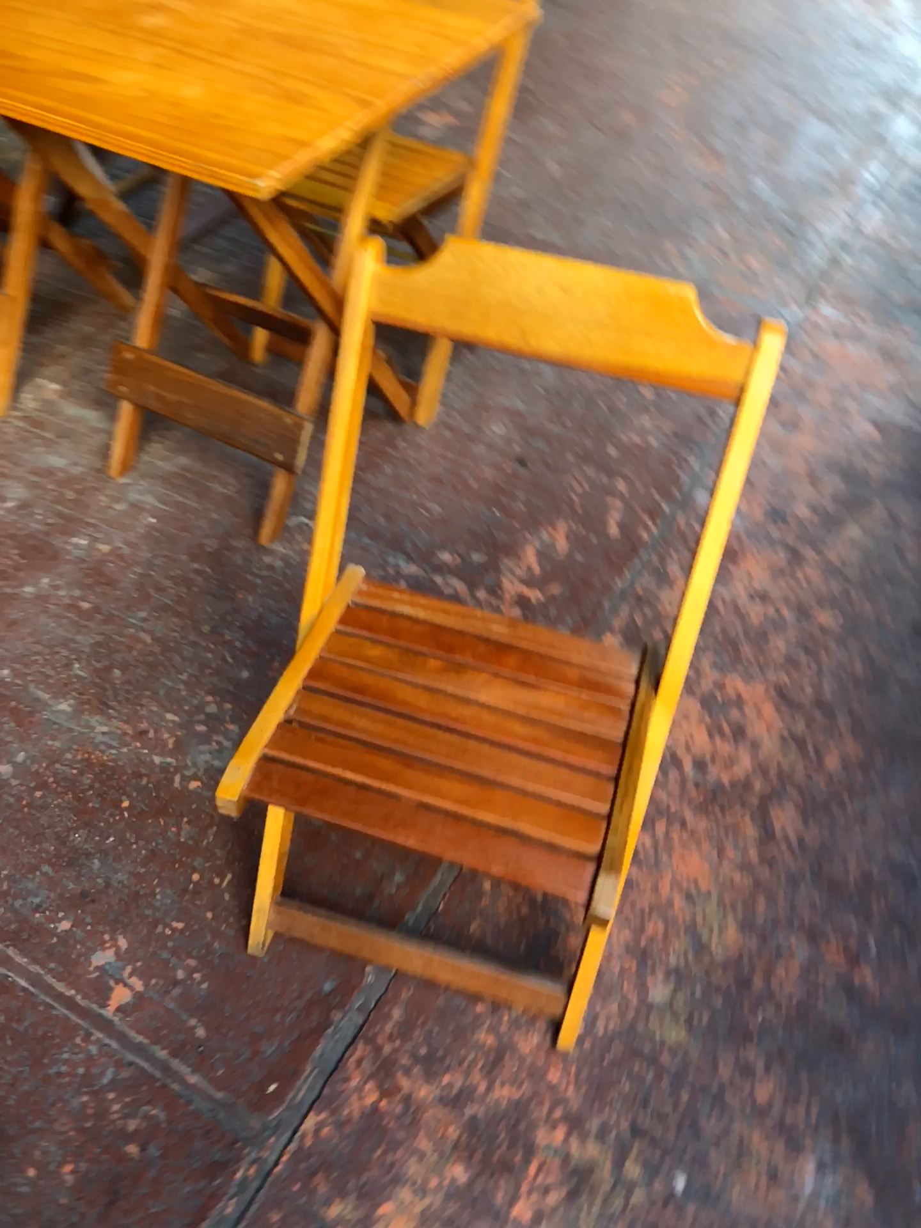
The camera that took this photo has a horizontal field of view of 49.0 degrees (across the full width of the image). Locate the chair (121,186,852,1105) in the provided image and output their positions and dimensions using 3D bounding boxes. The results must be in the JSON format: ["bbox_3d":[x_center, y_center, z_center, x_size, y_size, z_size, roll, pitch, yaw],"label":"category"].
[{"bbox_3d":[0.034,0.069,1.028,0.450,0.736,0.473,15,47,7],"label":"chair"}]
